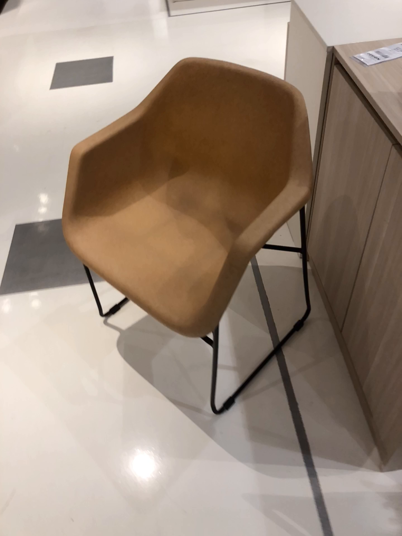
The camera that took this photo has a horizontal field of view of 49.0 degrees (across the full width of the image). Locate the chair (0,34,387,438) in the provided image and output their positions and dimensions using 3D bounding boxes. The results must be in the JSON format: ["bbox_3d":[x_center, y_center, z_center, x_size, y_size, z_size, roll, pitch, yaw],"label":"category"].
[{"bbox_3d":[0.001,-0.095,1.176,0.592,0.705,0.572,31,57,29],"label":"chair"}]
